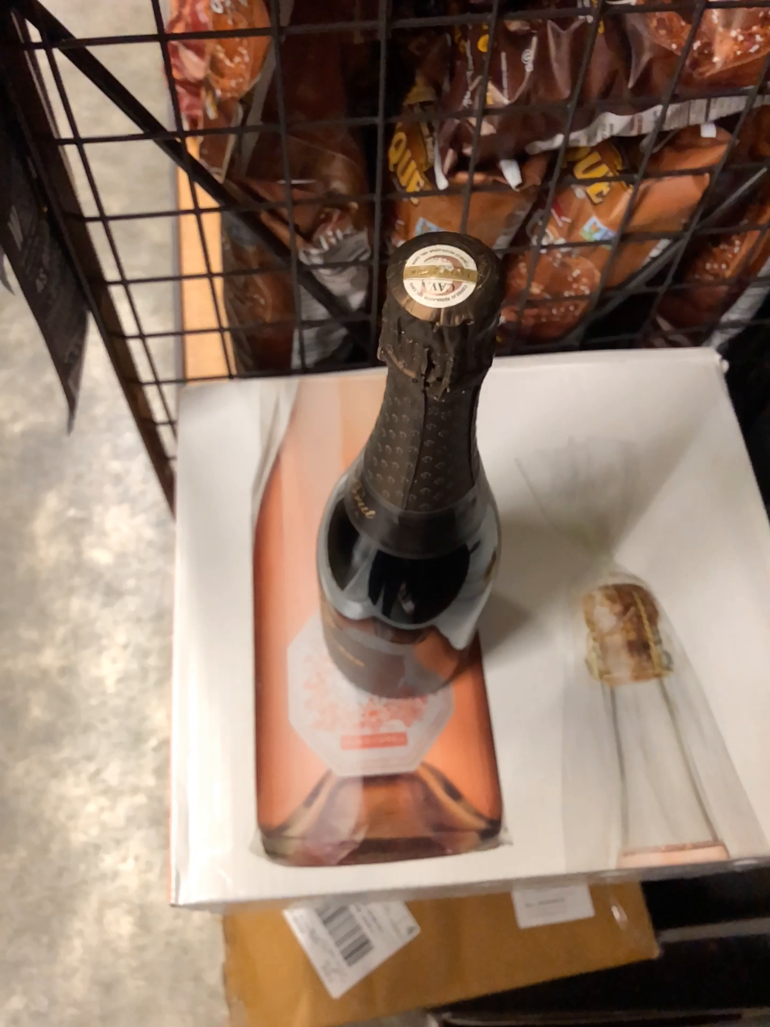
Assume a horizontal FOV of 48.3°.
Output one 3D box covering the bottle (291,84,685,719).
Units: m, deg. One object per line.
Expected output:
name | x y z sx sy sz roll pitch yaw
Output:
bottle | 0.018 -0.005 0.373 0.084 0.327 0.090 1 62 -2
